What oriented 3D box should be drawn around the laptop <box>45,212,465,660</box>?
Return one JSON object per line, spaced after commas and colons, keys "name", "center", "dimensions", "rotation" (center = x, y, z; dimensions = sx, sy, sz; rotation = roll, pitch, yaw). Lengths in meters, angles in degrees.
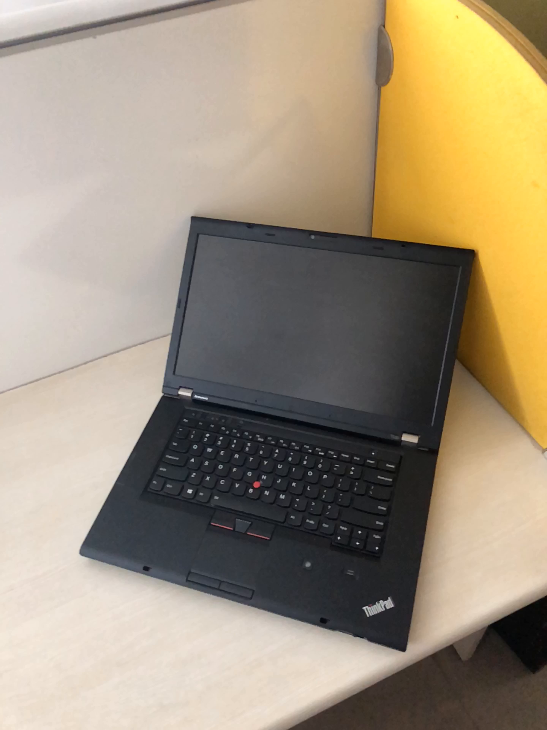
{"name": "laptop", "center": [0.013, 0.041, 0.696], "dimensions": [0.353, 0.143, 0.419], "rotation": [11, 53, 13]}
